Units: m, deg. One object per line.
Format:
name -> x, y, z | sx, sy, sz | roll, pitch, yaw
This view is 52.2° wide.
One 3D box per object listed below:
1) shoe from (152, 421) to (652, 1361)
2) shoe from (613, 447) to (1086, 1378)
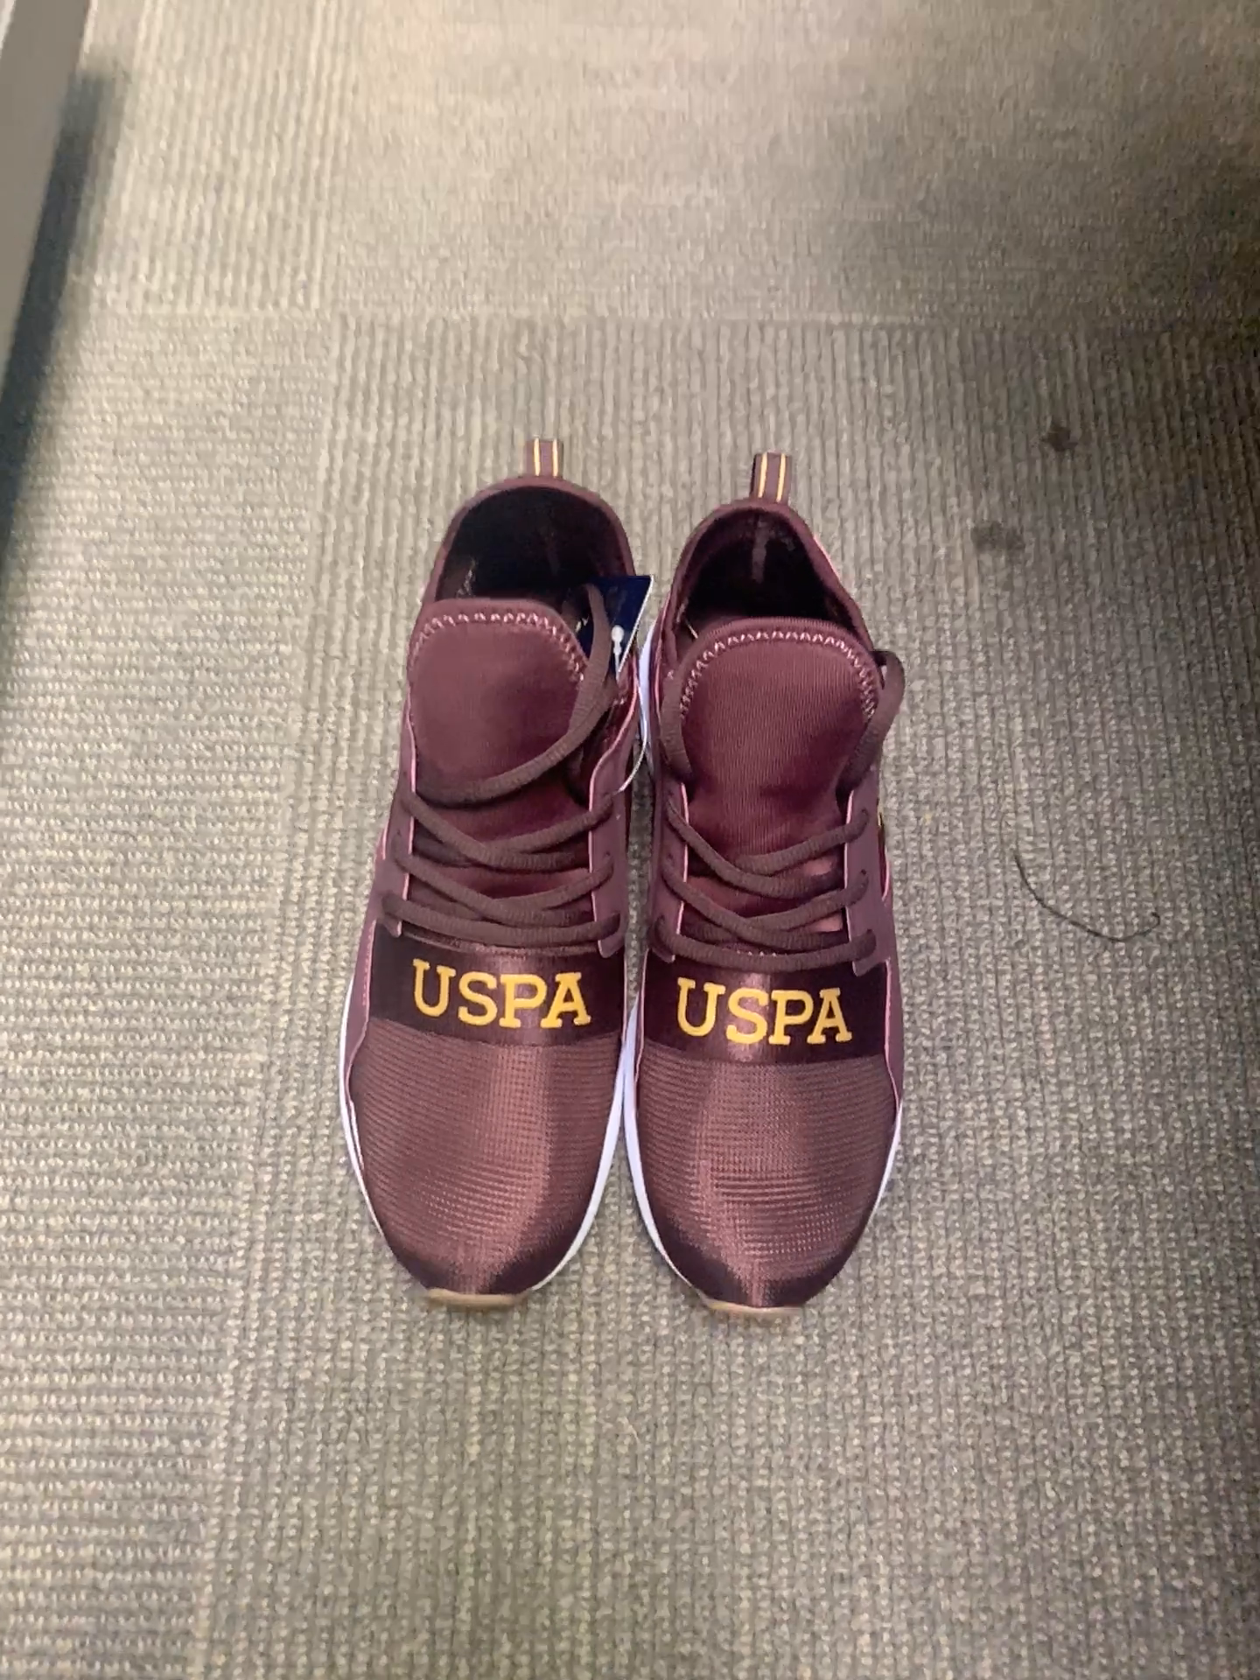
shoe -> -0.051, 0.024, 0.396 | 0.103, 0.156, 0.242 | 2, 71, -1
shoe -> 0.052, 0.029, 0.396 | 0.103, 0.149, 0.241 | 2, 71, -1
